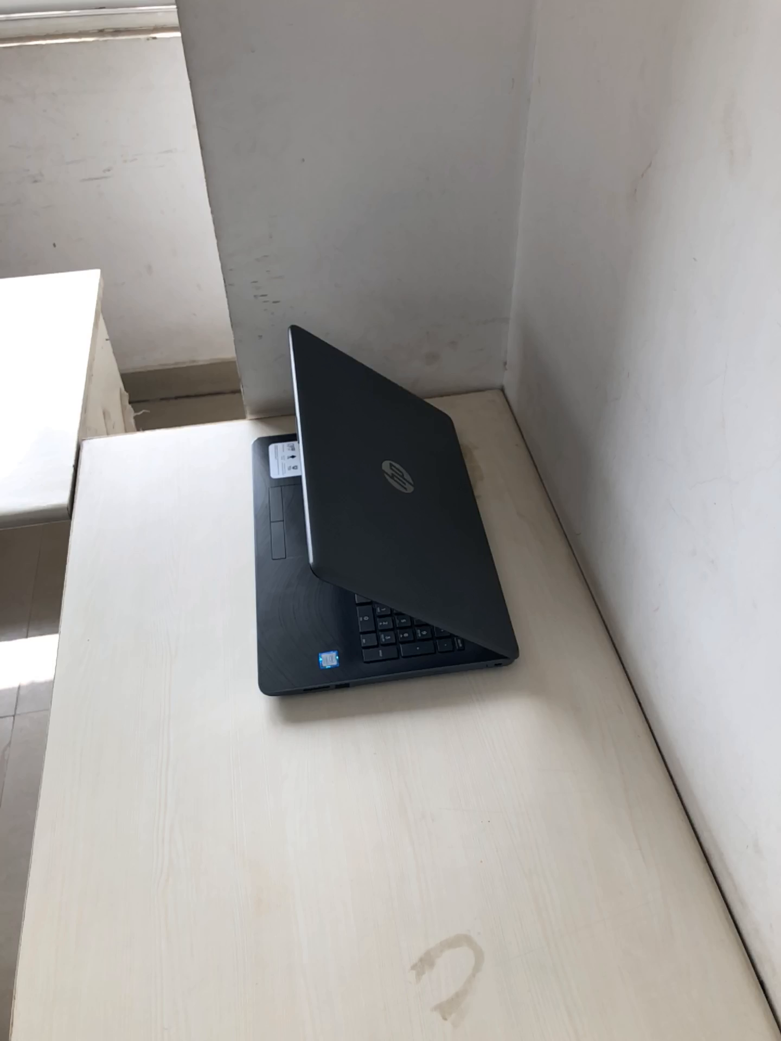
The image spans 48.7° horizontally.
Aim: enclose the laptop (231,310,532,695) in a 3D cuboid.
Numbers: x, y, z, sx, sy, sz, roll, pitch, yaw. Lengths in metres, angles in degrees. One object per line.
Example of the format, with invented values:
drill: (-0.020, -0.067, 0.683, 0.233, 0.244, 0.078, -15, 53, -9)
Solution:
laptop: (-0.026, -0.036, 0.884, 0.244, 0.157, 0.358, -6, 47, -6)
